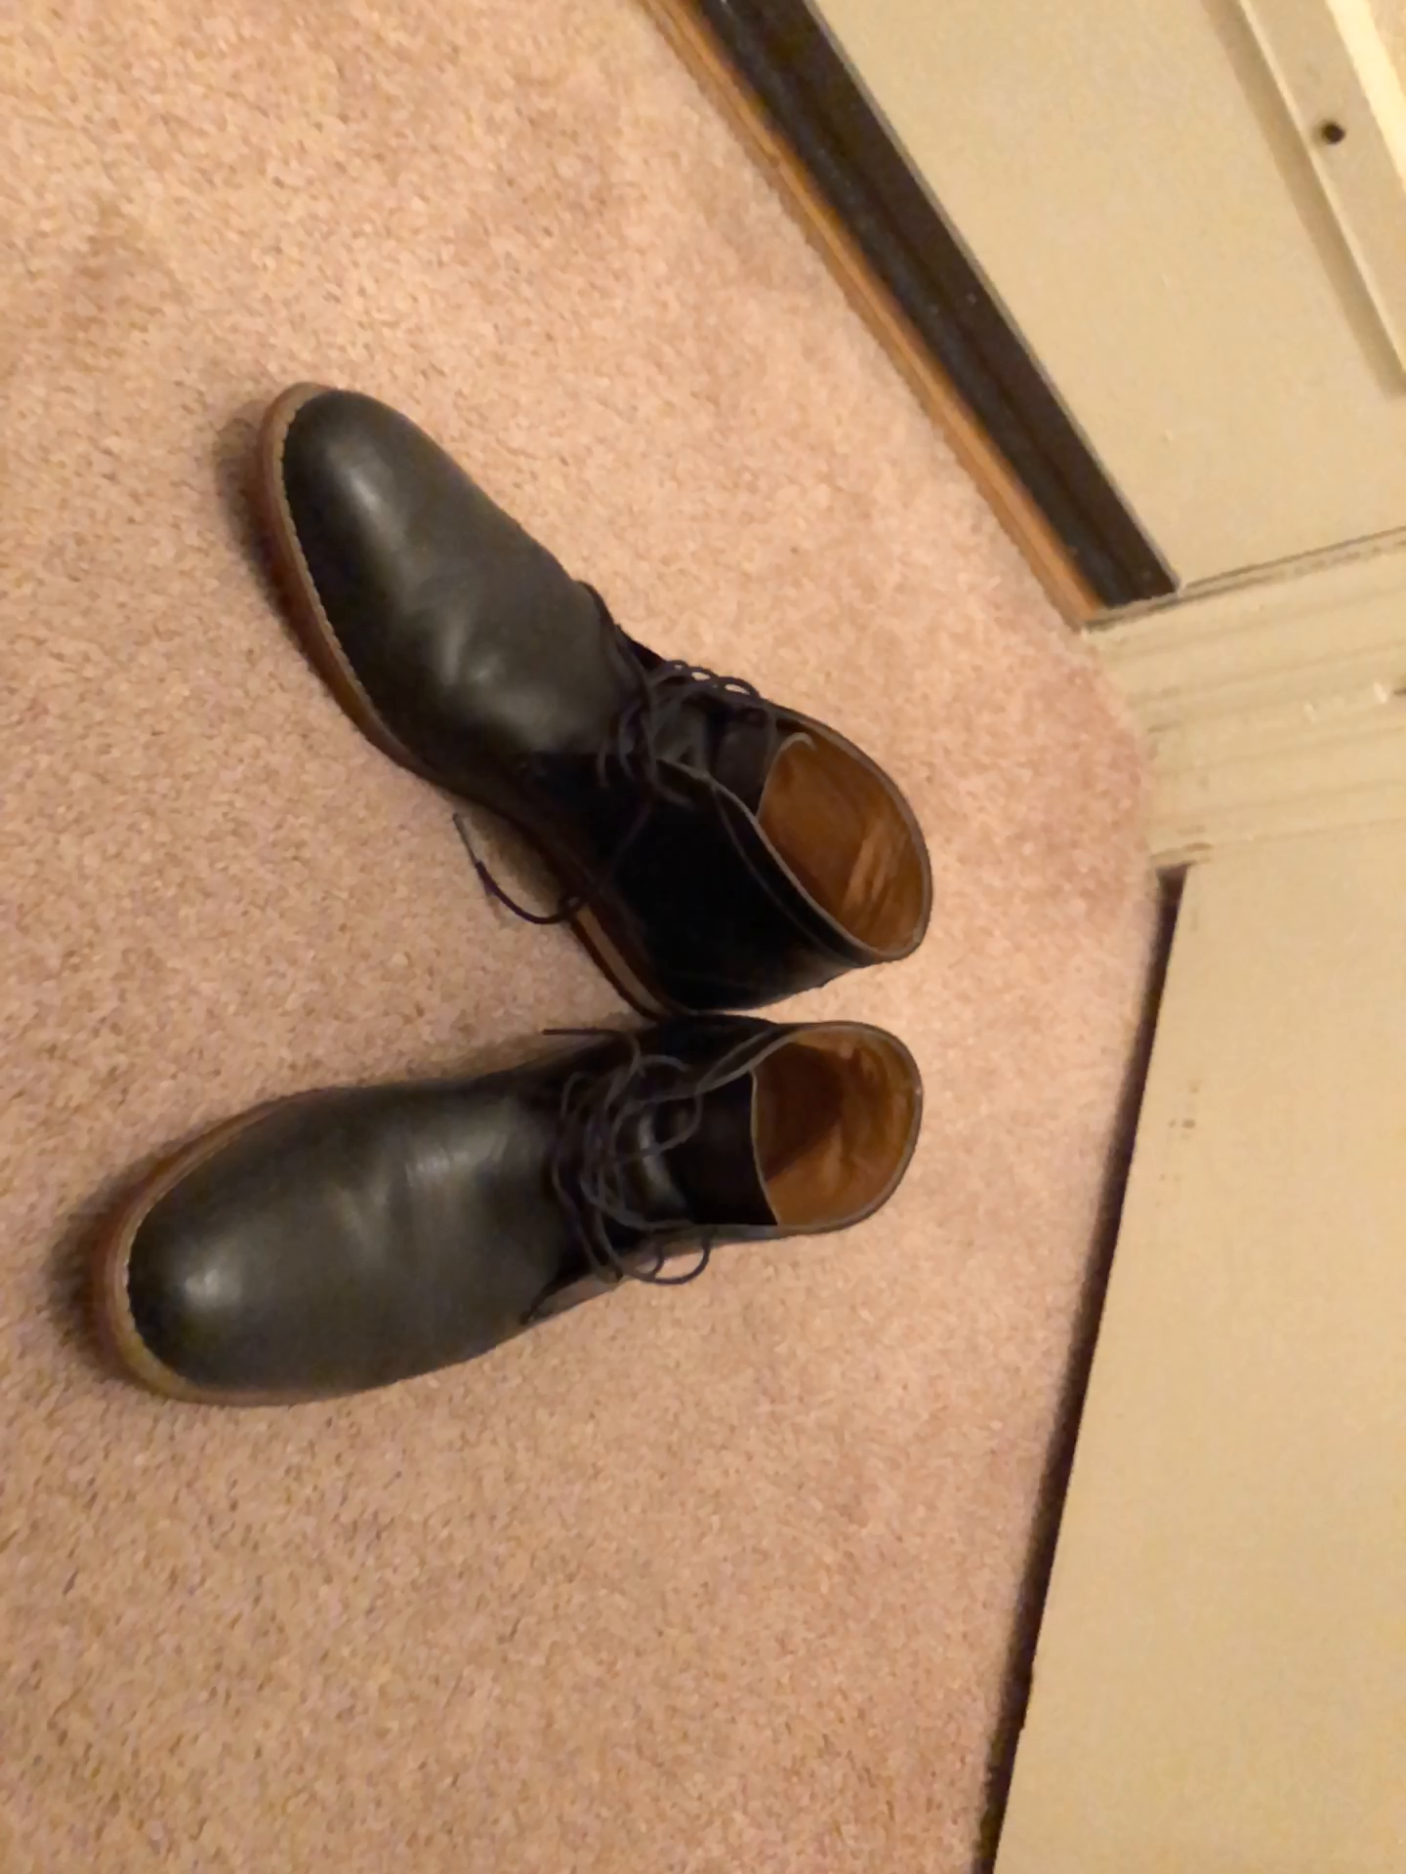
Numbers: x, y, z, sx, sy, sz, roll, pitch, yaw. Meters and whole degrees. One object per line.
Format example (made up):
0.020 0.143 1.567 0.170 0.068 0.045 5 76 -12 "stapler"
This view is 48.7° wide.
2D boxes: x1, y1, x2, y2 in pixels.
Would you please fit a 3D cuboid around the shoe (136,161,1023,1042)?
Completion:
-0.026 -0.095 0.574 0.303 0.135 0.116 44 54 -35 "shoe"

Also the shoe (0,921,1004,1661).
-0.044 0.090 0.520 0.304 0.135 0.116 -19 98 -48 "shoe"
